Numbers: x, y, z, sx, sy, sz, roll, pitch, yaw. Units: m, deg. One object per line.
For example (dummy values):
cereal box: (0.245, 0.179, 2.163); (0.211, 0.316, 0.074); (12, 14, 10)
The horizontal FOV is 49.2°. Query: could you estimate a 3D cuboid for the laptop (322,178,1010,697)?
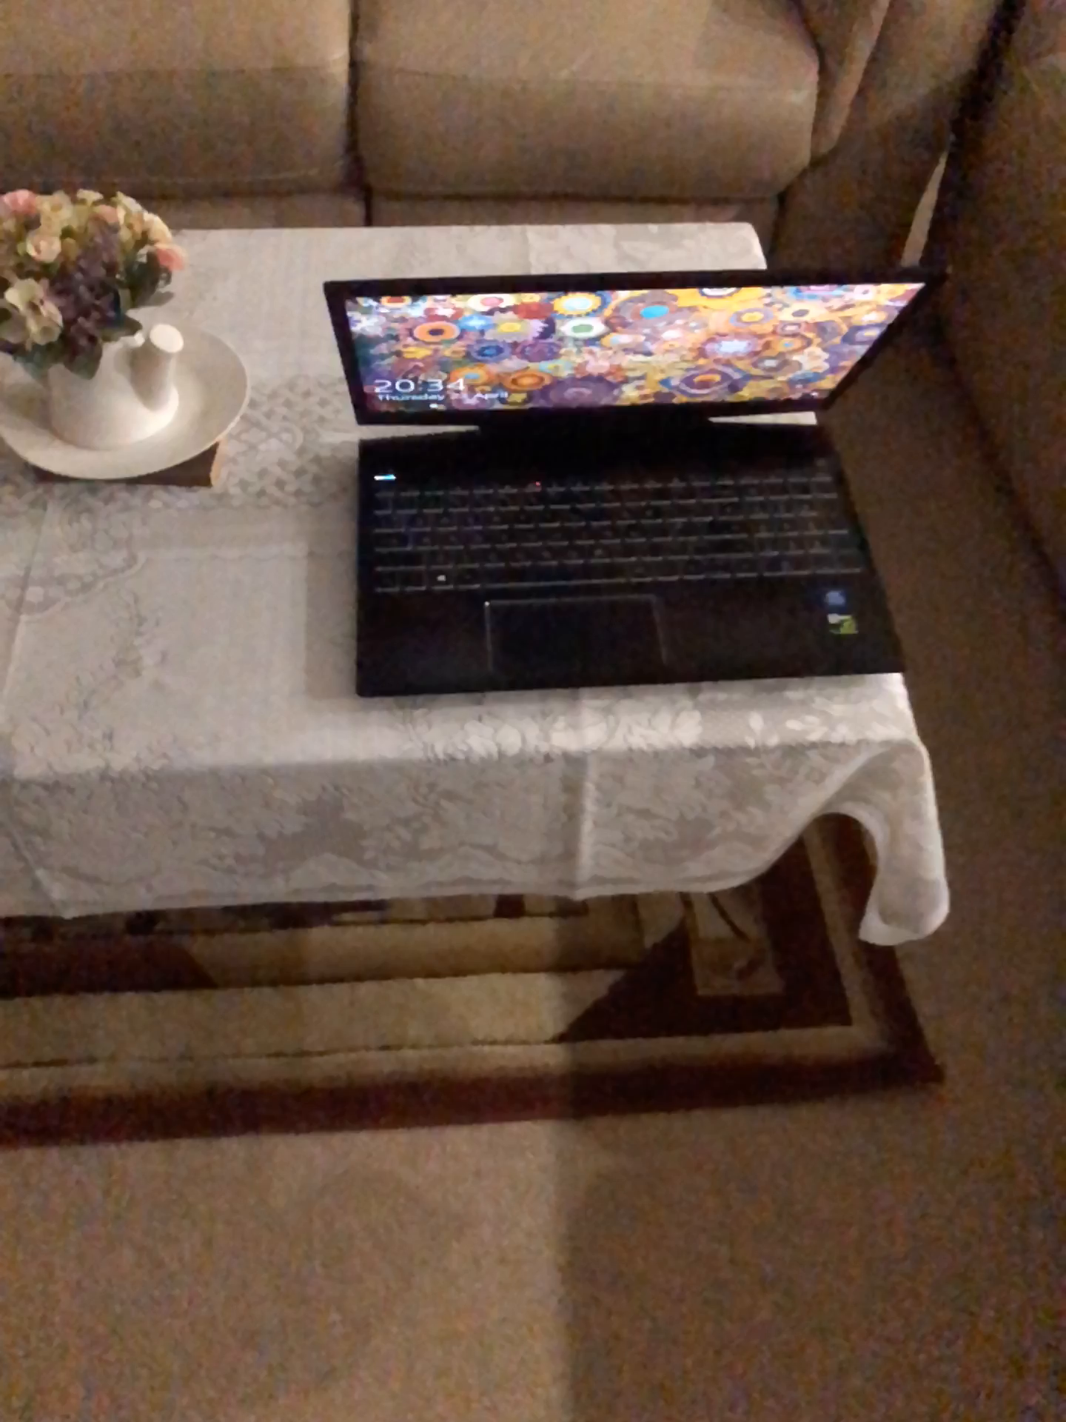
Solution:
laptop: (0.060, -0.177, 0.745); (0.355, 0.199, 0.244); (-3, 53, -4)
